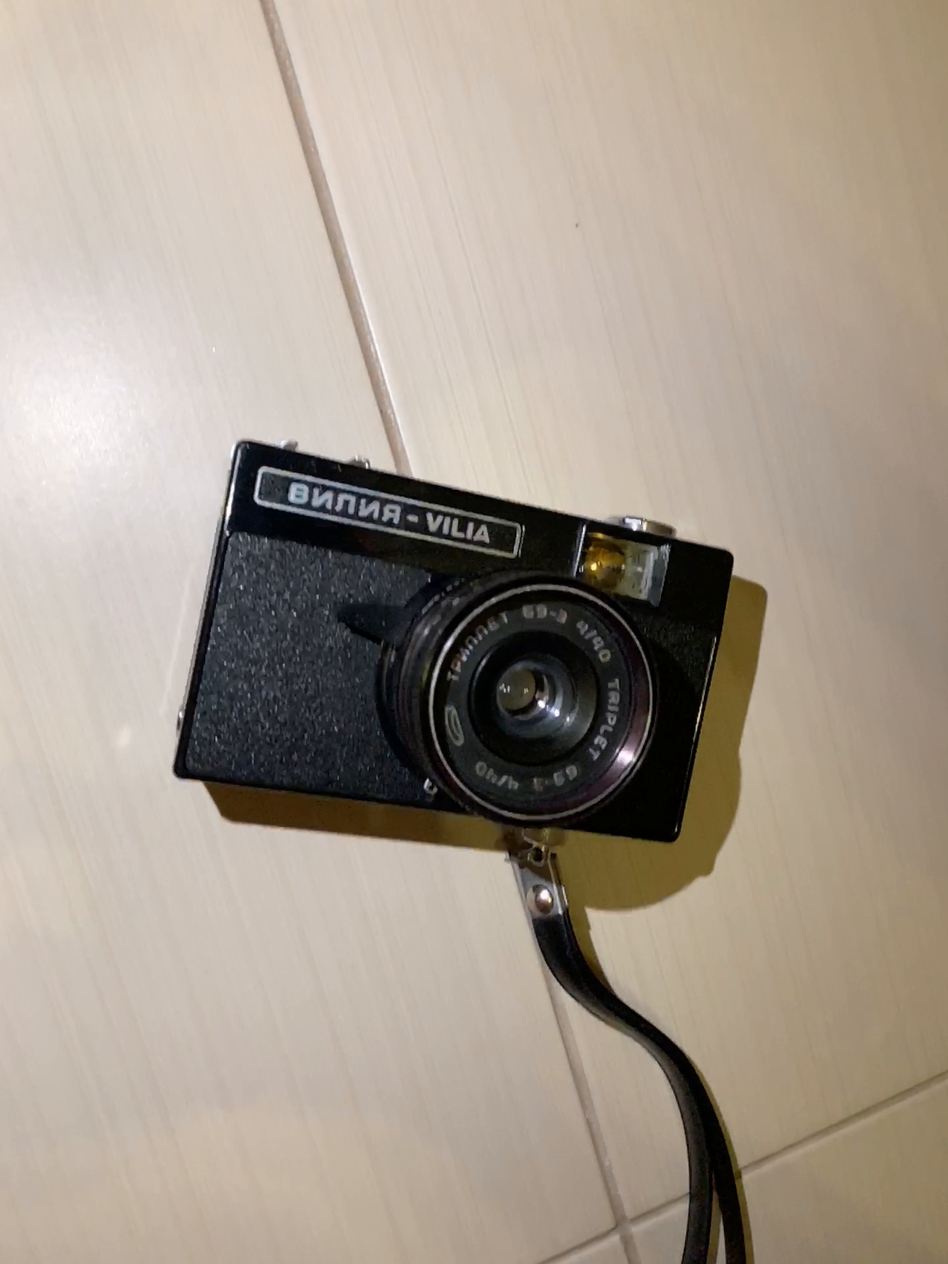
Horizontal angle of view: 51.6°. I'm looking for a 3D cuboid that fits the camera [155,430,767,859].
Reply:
[{"bbox_3d":[-0.003,0.004,0.233,0.124,0.041,0.072,11,92,-14],"label":"camera"}]
